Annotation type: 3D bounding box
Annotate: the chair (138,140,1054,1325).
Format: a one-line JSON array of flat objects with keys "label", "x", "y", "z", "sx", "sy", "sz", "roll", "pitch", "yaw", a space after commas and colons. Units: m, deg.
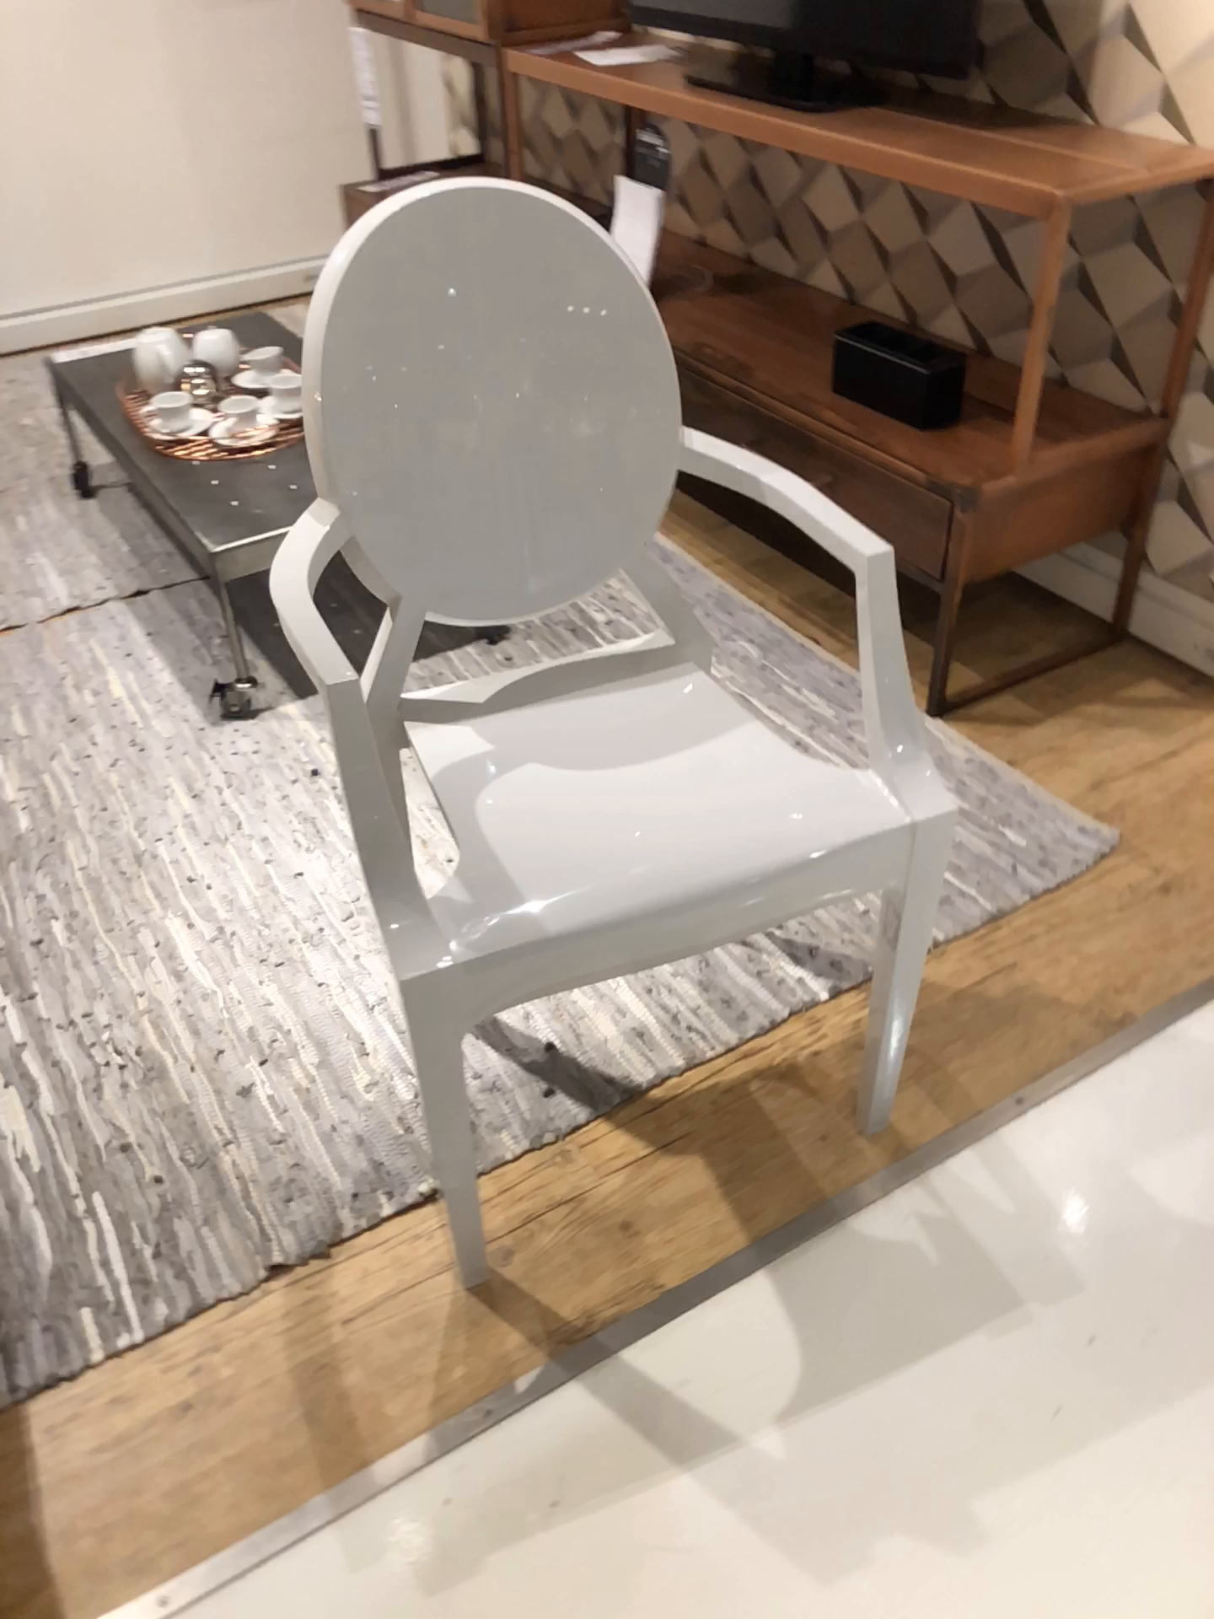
[{"label": "chair", "x": -0.034, "y": -0.086, "z": 1.250, "sx": 0.511, "sy": 0.843, "sz": 0.554, "roll": -17, "pitch": 39, "yaw": -17}]
